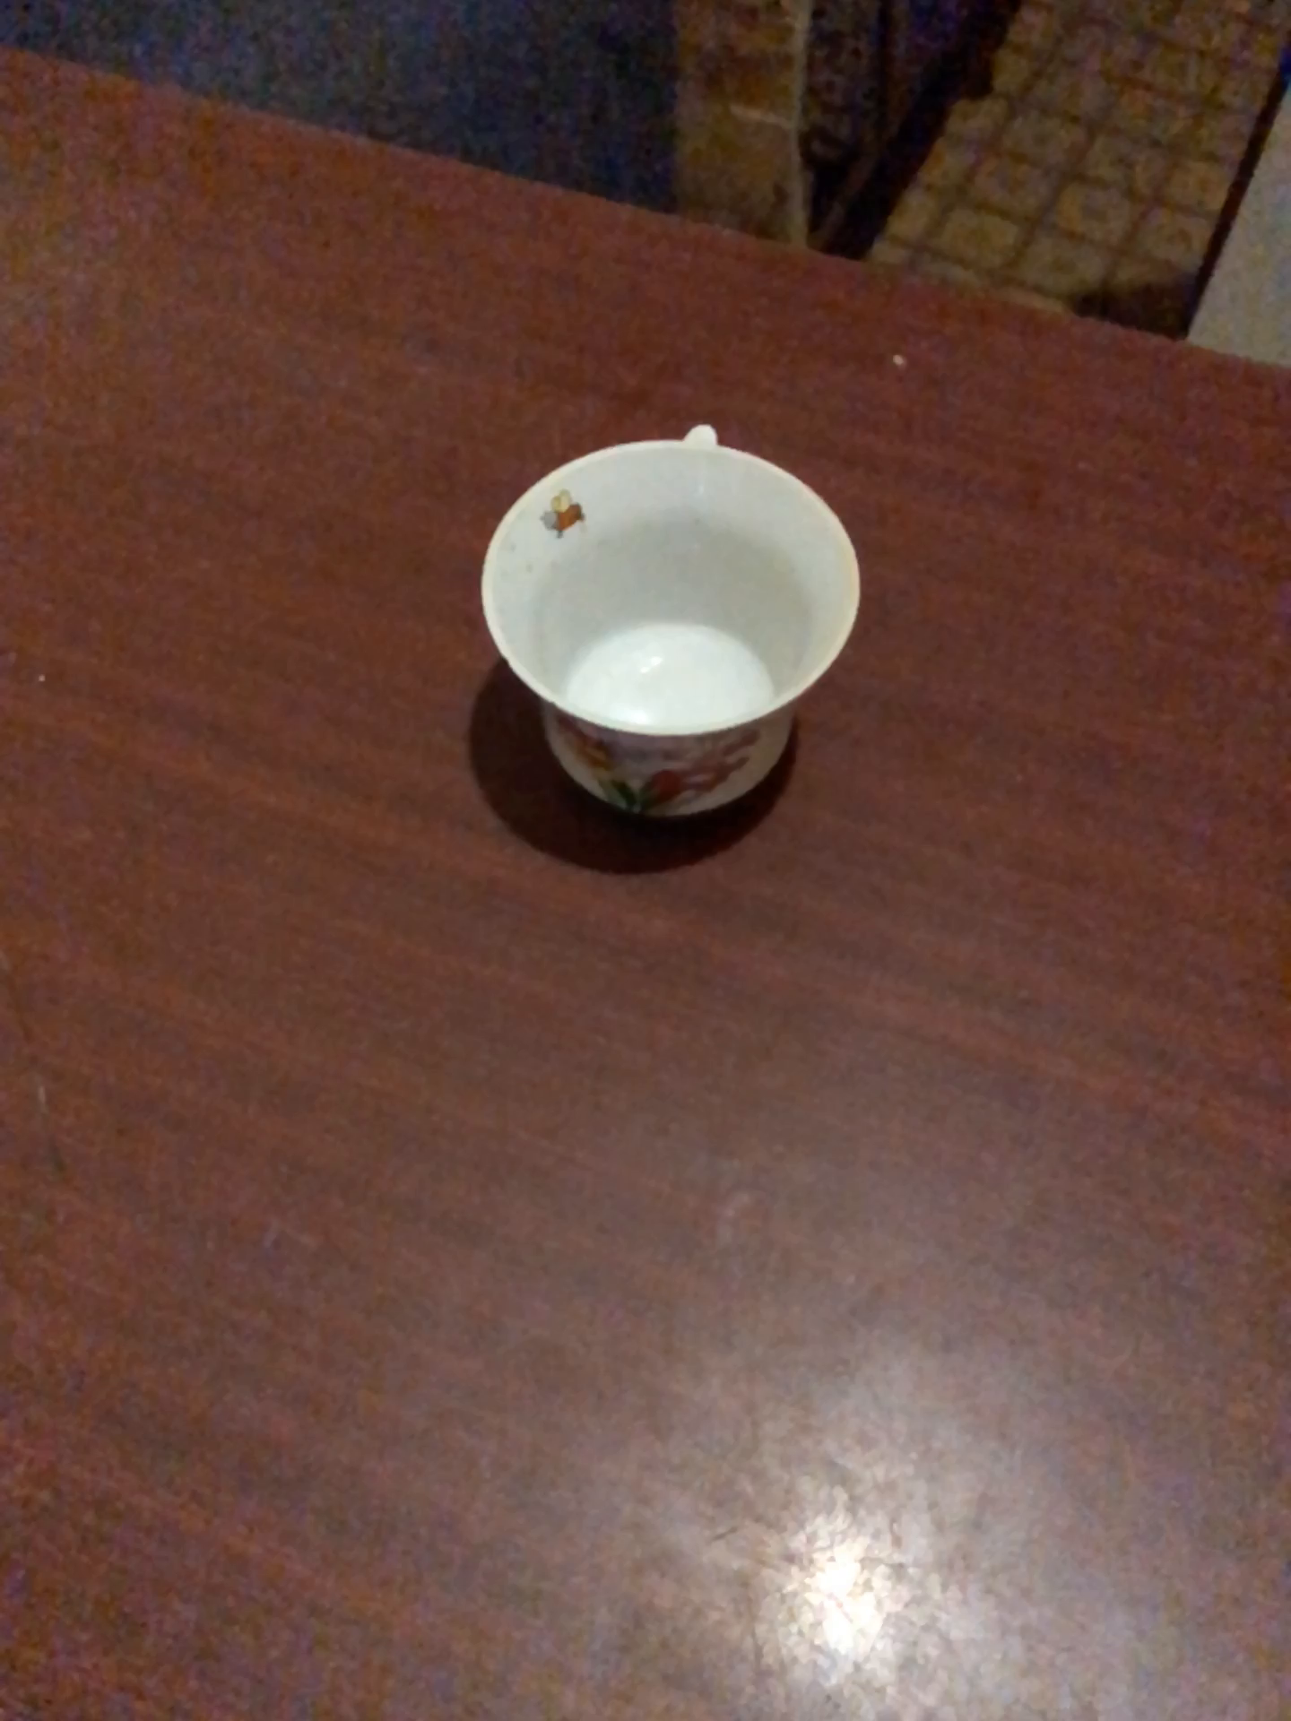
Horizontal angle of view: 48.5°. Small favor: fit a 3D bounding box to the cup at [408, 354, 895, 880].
[{"bbox_3d":[0.005,-0.065,0.378,0.100,0.059,0.110,11,61,6],"label":"cup"}]
